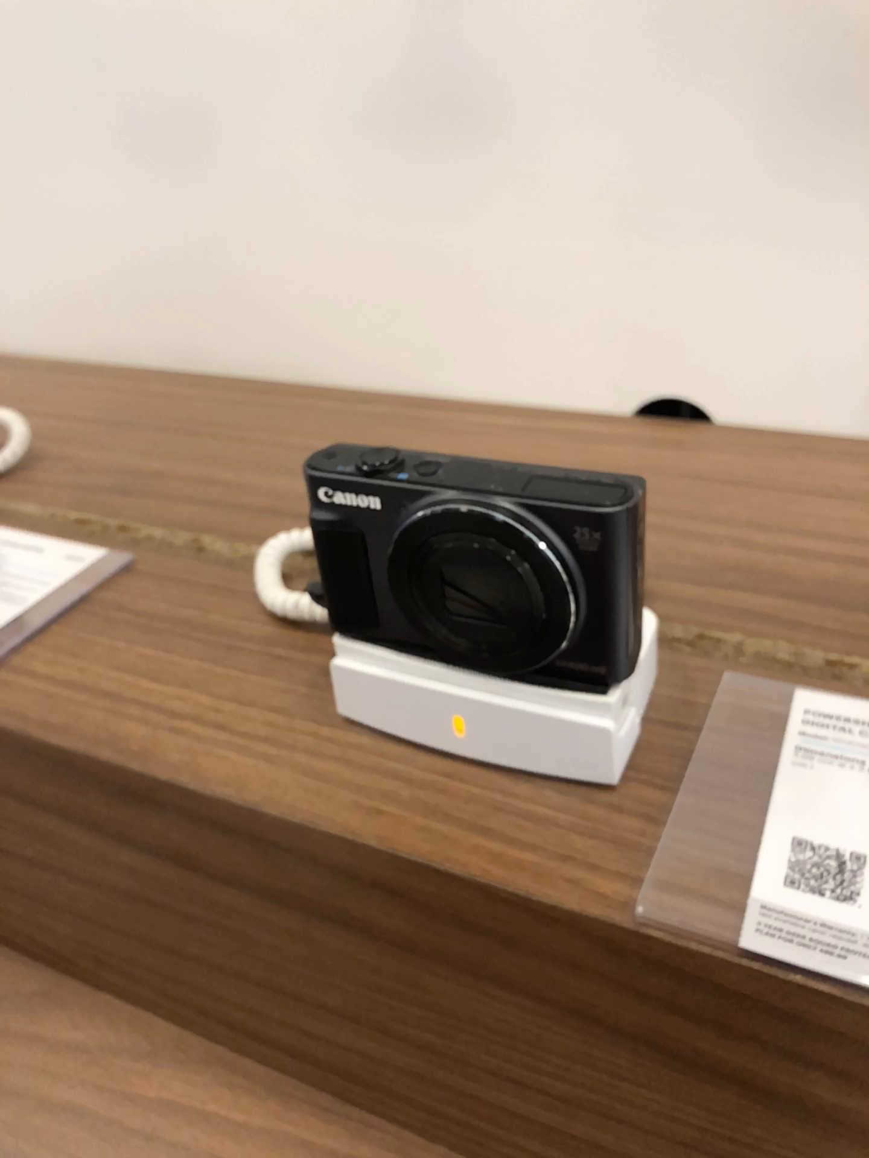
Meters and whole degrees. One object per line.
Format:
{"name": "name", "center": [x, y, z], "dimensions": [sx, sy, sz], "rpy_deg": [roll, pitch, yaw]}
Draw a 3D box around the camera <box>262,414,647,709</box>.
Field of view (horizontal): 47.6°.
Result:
{"name": "camera", "center": [0.006, -0.008, 0.278], "dimensions": [0.100, 0.060, 0.030], "rpy_deg": [11, 34, 26]}
